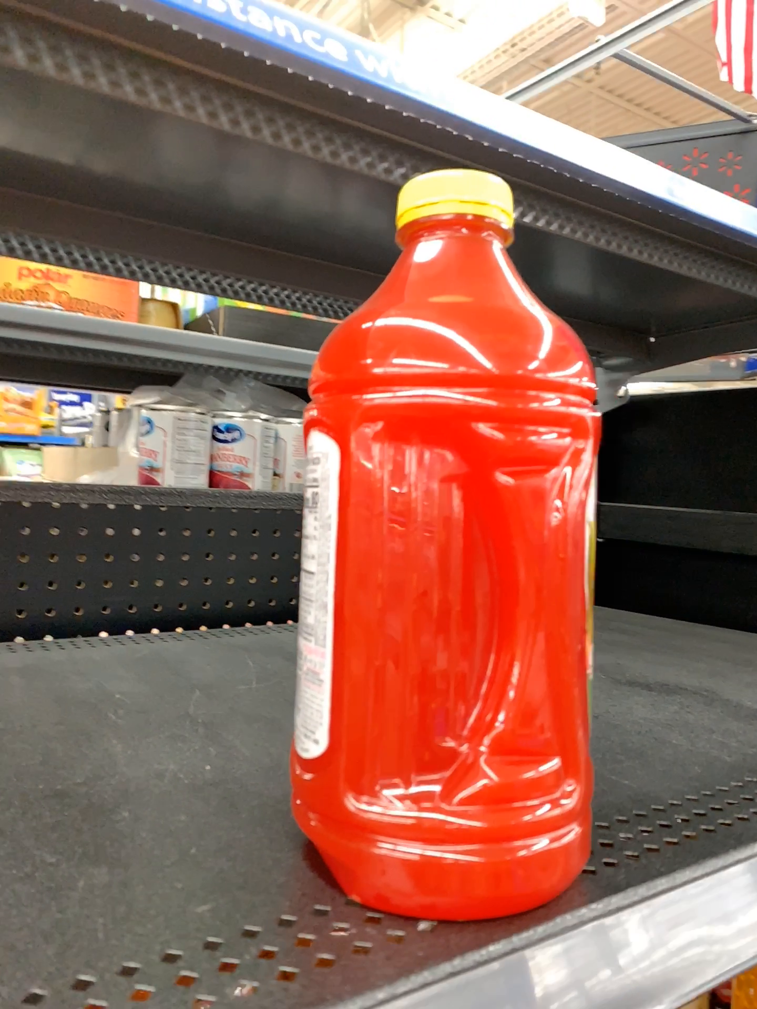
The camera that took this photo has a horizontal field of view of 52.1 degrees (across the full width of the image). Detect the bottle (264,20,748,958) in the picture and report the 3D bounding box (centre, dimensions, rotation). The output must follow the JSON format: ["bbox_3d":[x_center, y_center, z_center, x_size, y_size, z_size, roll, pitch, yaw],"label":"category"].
[{"bbox_3d":[0.035,-0.004,0.304,0.122,0.265,0.140,3,1,-19],"label":"bottle"}]
